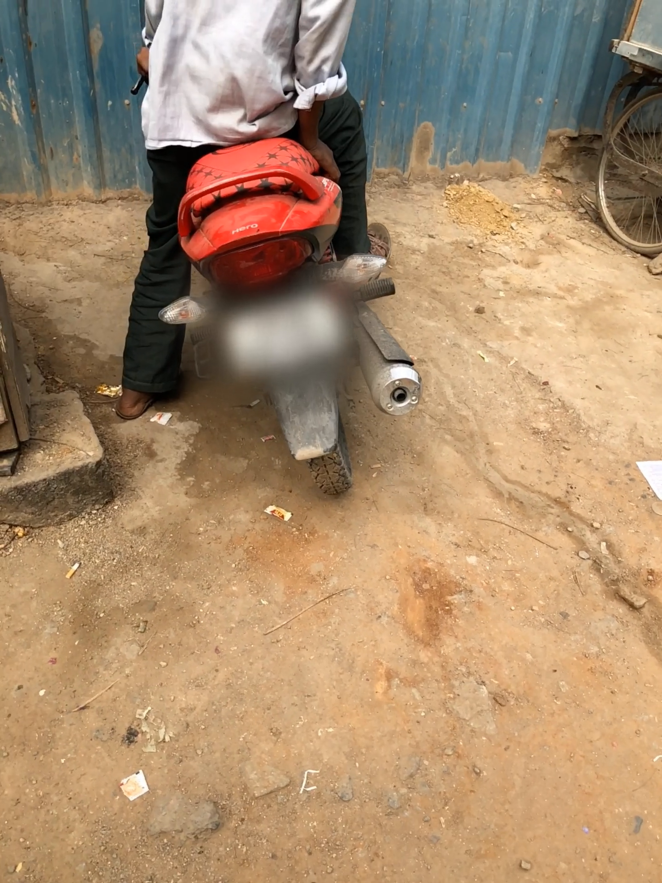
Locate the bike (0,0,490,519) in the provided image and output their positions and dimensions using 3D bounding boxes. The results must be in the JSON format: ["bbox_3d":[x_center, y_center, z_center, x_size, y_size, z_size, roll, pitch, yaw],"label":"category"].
[{"bbox_3d":[-0.339,-0.874,1.936,0.735,1.129,1.639,-4,41,-13],"label":"bike"}]
